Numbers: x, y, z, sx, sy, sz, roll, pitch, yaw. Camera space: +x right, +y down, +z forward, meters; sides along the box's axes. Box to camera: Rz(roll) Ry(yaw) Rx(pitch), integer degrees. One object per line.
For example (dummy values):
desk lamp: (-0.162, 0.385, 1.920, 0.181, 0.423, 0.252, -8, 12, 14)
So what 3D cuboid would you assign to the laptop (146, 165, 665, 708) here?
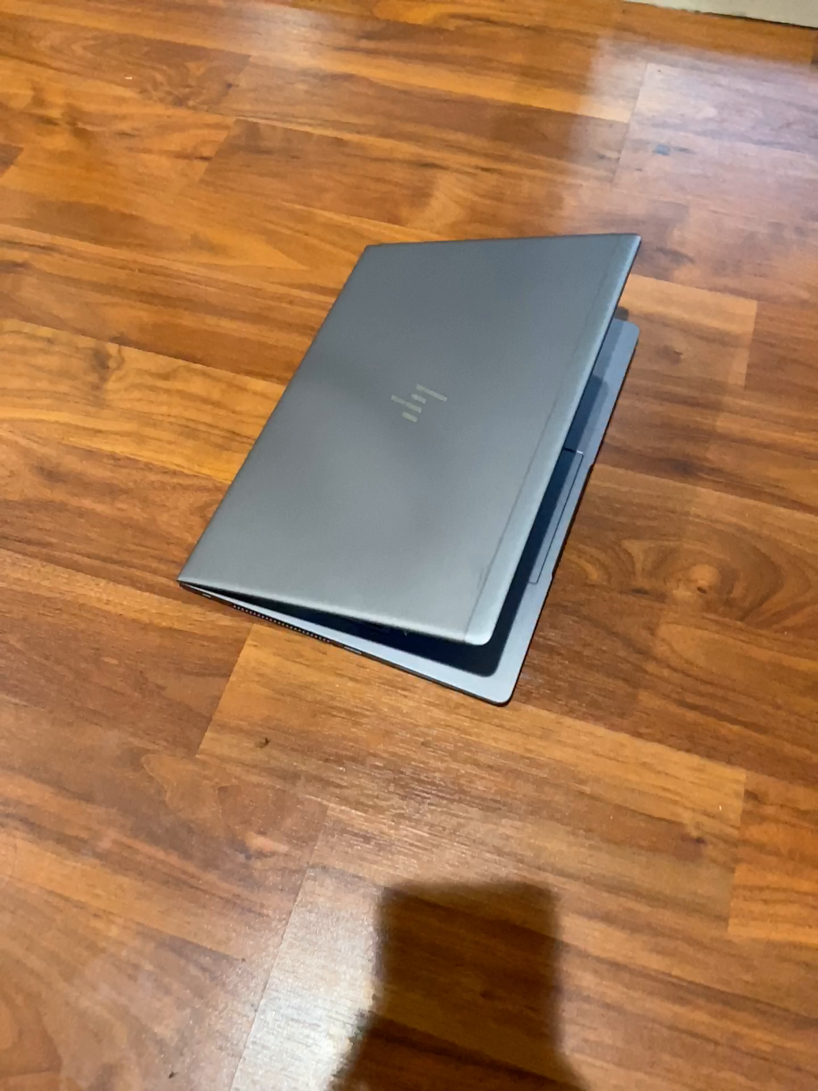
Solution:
laptop: (0.013, -0.091, 0.569, 0.230, 0.078, 0.325, 19, 66, 10)
